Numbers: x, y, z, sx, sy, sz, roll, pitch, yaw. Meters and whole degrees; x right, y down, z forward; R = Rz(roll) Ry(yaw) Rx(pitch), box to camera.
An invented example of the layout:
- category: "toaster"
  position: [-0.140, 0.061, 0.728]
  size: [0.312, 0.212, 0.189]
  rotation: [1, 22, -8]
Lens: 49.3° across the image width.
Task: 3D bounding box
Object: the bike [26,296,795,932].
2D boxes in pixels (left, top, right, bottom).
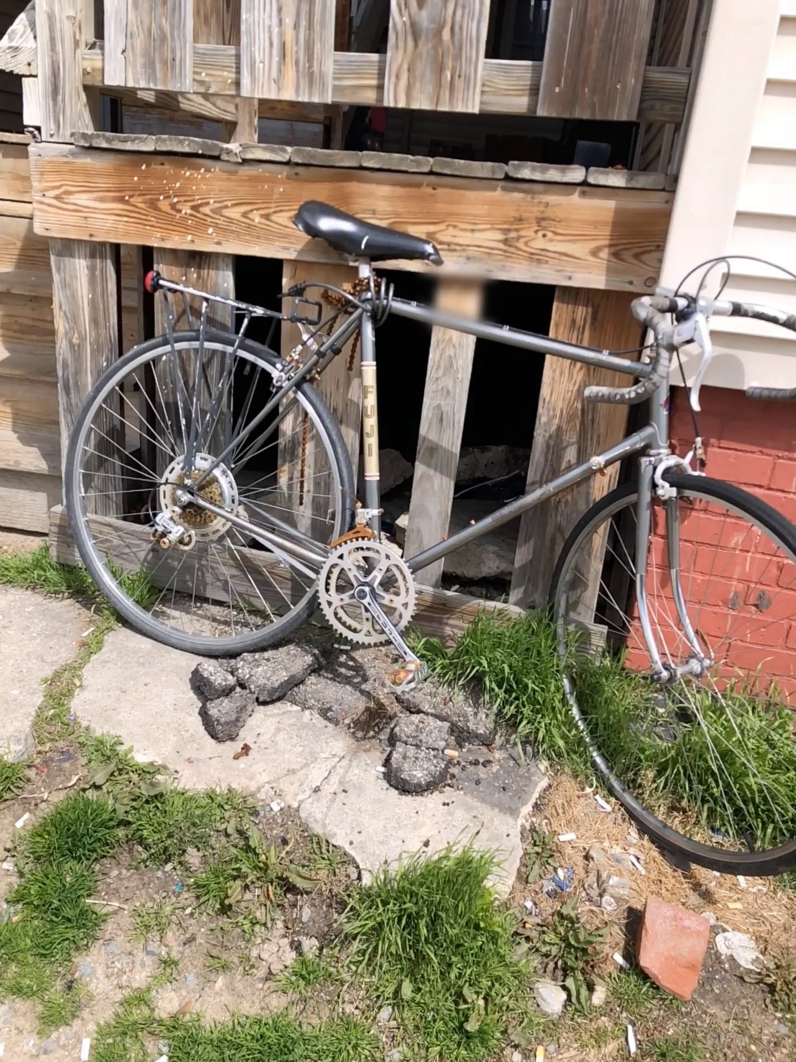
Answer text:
- category: "bike"
  position: [0.029, -0.008, 1.274]
  size: [1.201, 0.479, 0.400]
  rotation: [16, 22, 24]
